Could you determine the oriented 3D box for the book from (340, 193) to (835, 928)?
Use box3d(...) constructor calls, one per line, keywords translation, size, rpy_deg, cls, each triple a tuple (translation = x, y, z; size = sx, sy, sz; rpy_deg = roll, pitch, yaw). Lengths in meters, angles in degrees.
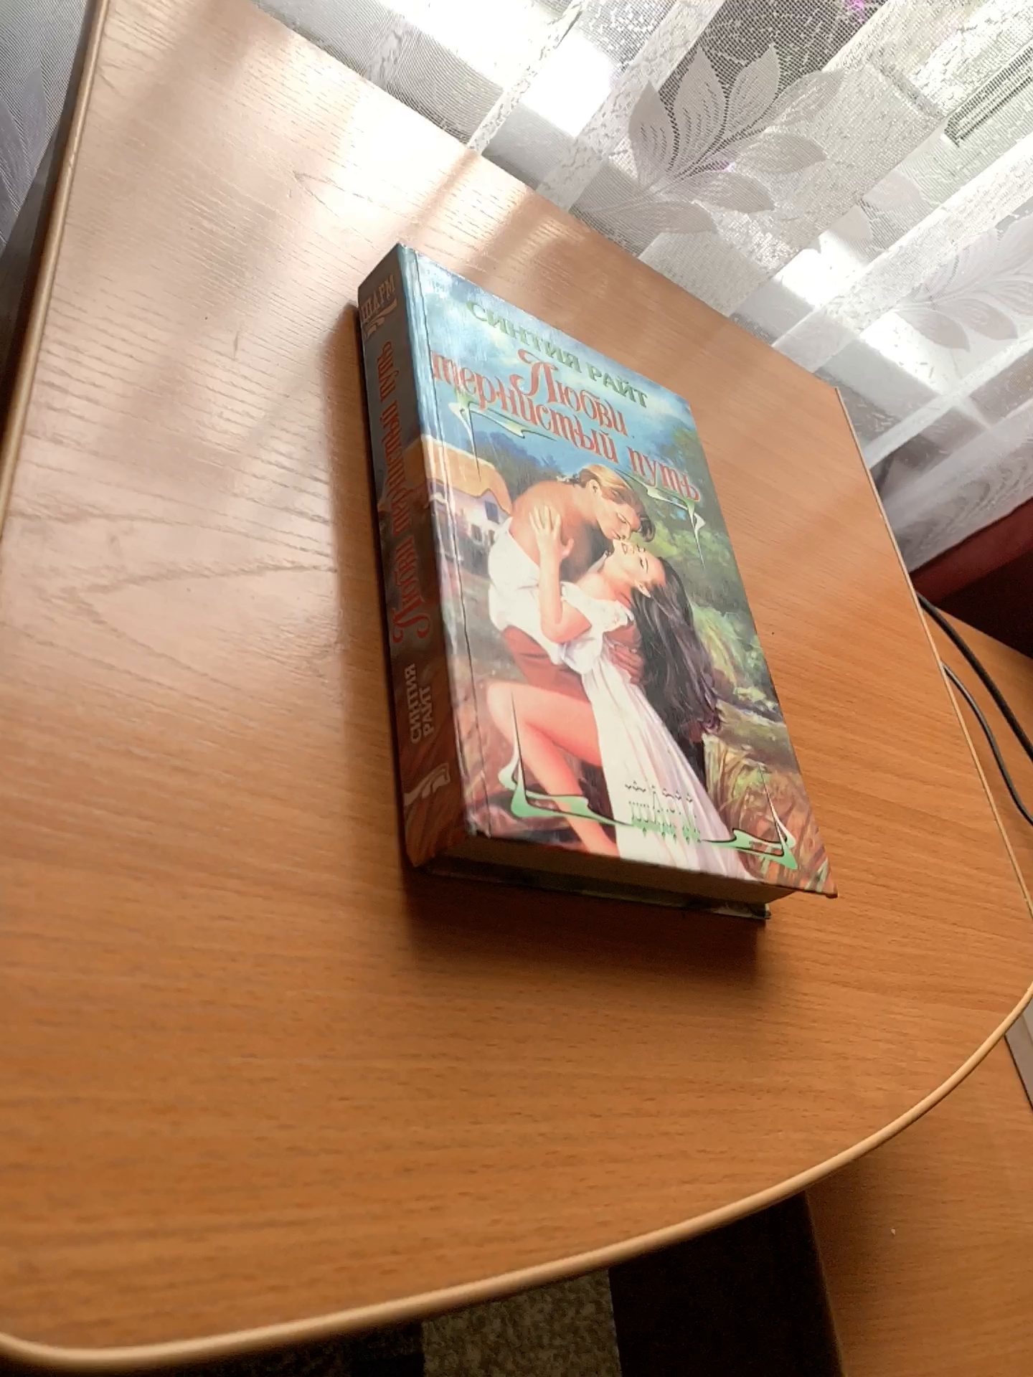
box3d(translation=(0.017, -0.040, 0.328), size=(0.141, 0.030, 0.211), rpy_deg=(17, 53, -36), cls="book")
